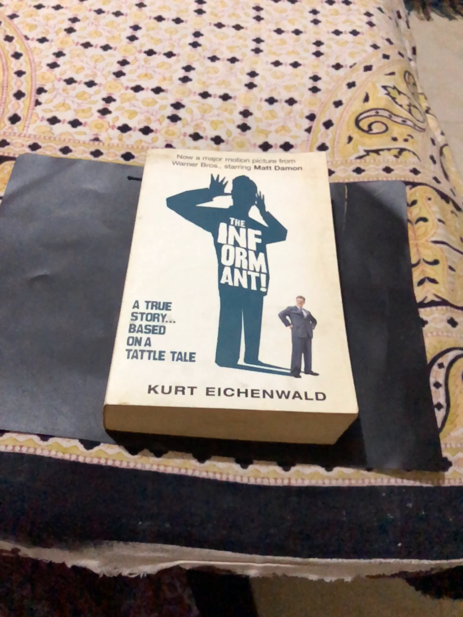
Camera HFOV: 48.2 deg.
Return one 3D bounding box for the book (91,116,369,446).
[{"bbox_3d":[0.002,-0.032,0.346,0.140,0.050,0.230,3,55,-2],"label":"book"}]
